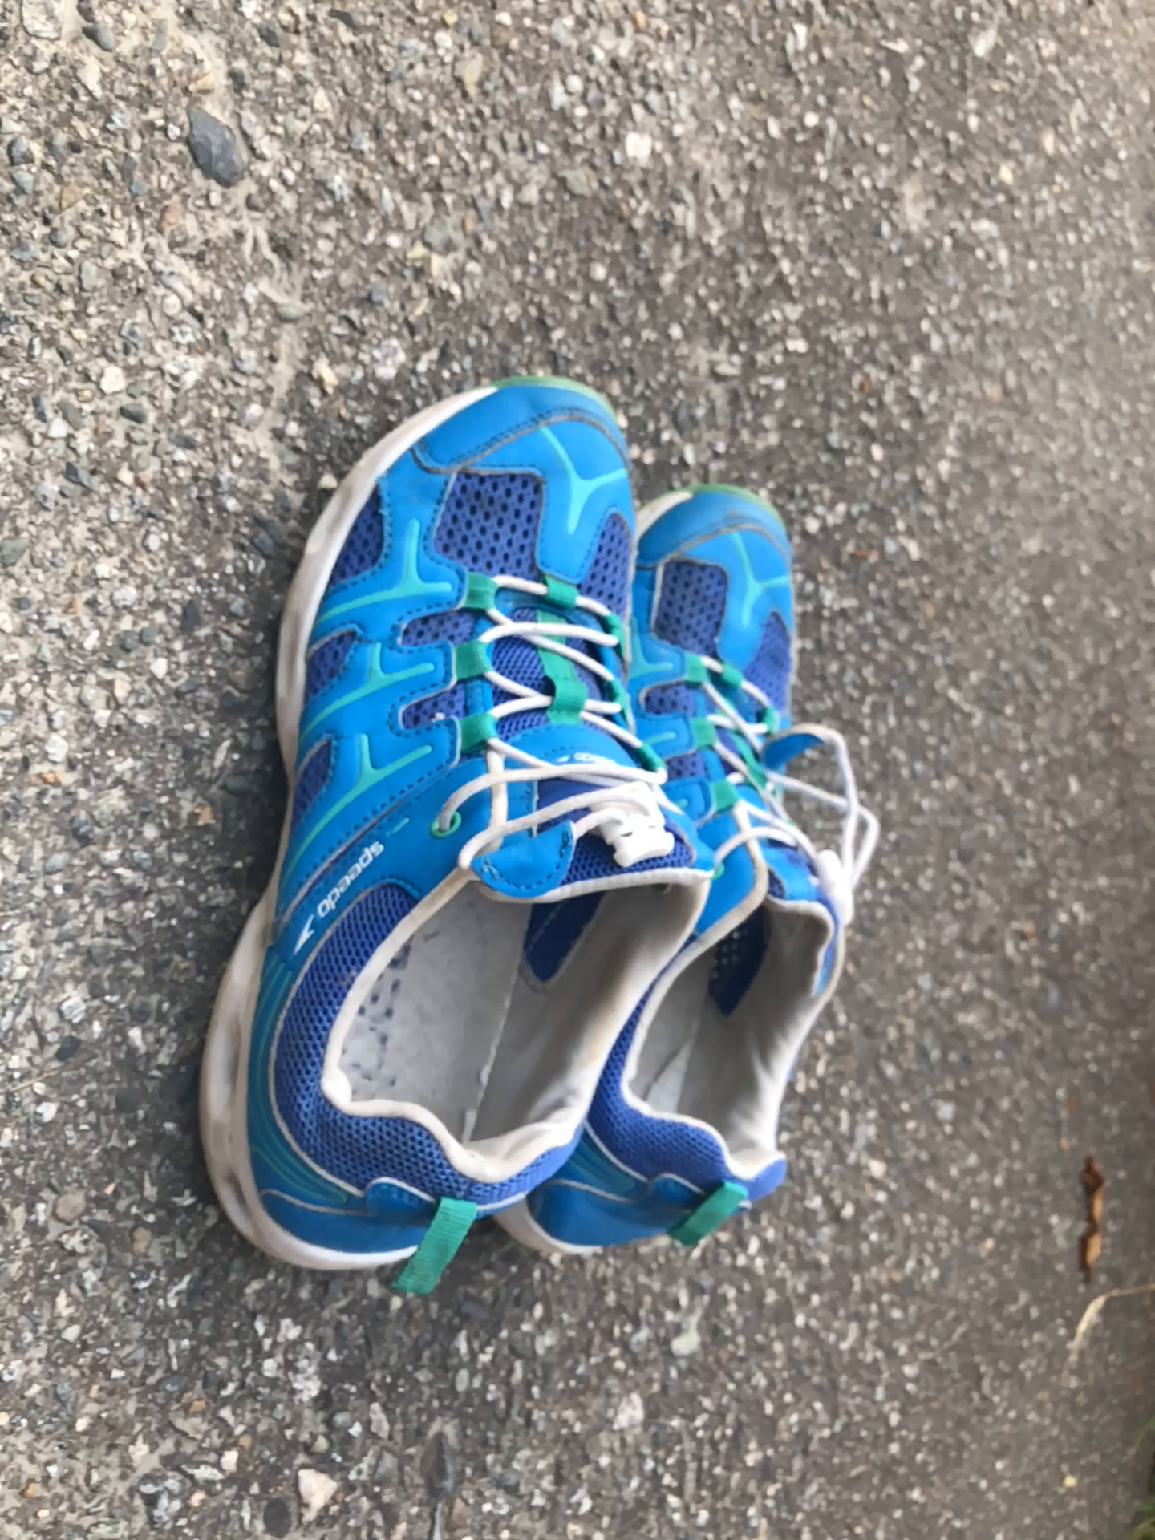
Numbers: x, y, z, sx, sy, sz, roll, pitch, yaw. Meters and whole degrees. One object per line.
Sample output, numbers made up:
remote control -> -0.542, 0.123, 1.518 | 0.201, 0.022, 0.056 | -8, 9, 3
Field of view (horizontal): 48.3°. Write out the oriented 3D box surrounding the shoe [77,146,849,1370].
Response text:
shoe -> -0.021, 0.000, 0.326 | 0.100, 0.090, 0.260 | 24, 75, -41

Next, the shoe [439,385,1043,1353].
shoe -> 0.055, 0.030, 0.388 | 0.100, 0.090, 0.250 | 24, 75, -41
